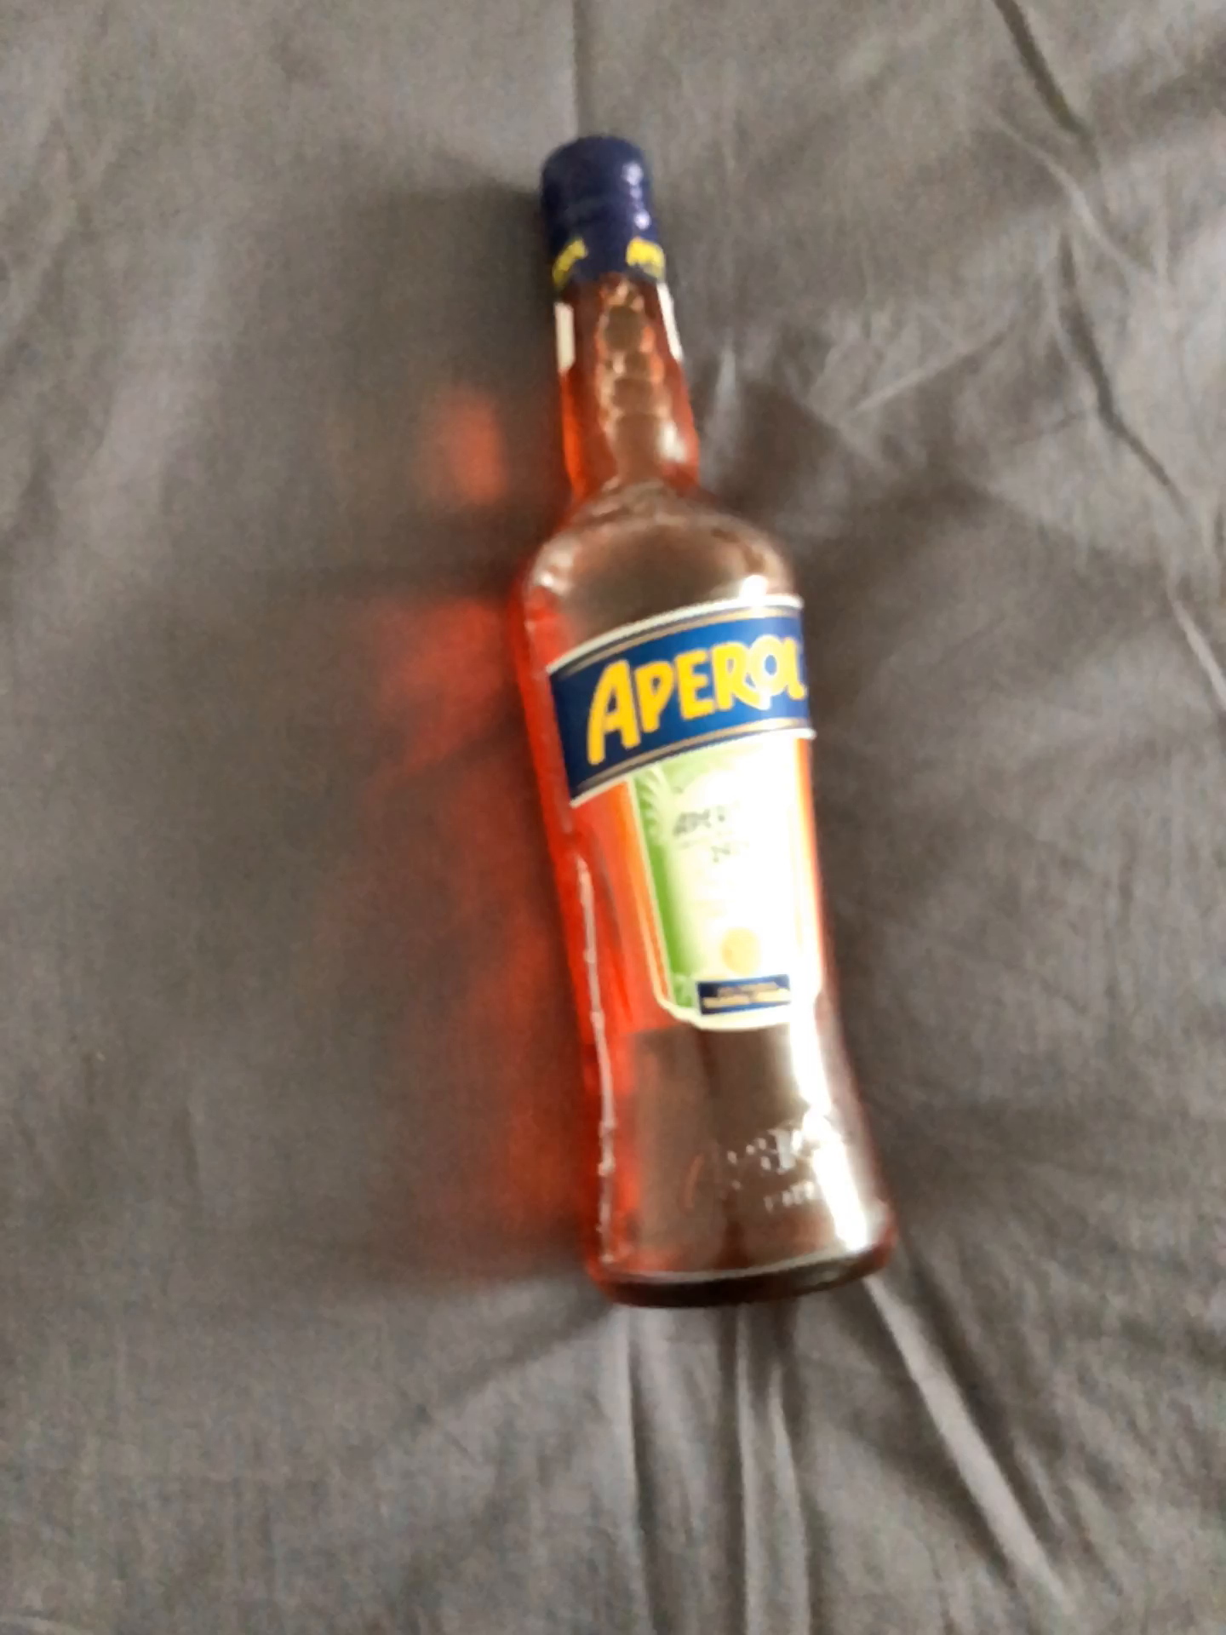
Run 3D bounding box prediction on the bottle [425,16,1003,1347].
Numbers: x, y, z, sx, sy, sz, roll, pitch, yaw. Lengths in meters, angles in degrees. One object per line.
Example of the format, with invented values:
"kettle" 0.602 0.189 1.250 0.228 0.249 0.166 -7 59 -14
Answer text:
"bottle" 0.016 -0.042 0.362 0.100 0.070 0.320 -5 82 -10
